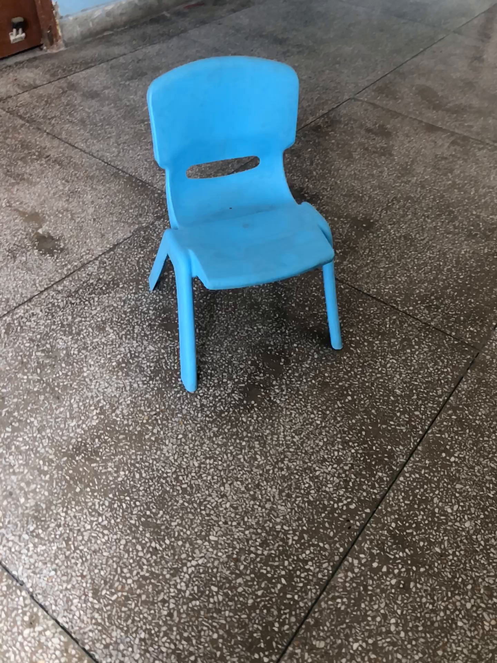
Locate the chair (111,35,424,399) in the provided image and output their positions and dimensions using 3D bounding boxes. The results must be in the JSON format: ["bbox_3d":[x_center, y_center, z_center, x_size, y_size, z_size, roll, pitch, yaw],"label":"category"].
[{"bbox_3d":[-0.001,-0.219,1.057,0.380,0.498,0.391,-14,49,-16],"label":"chair"}]
